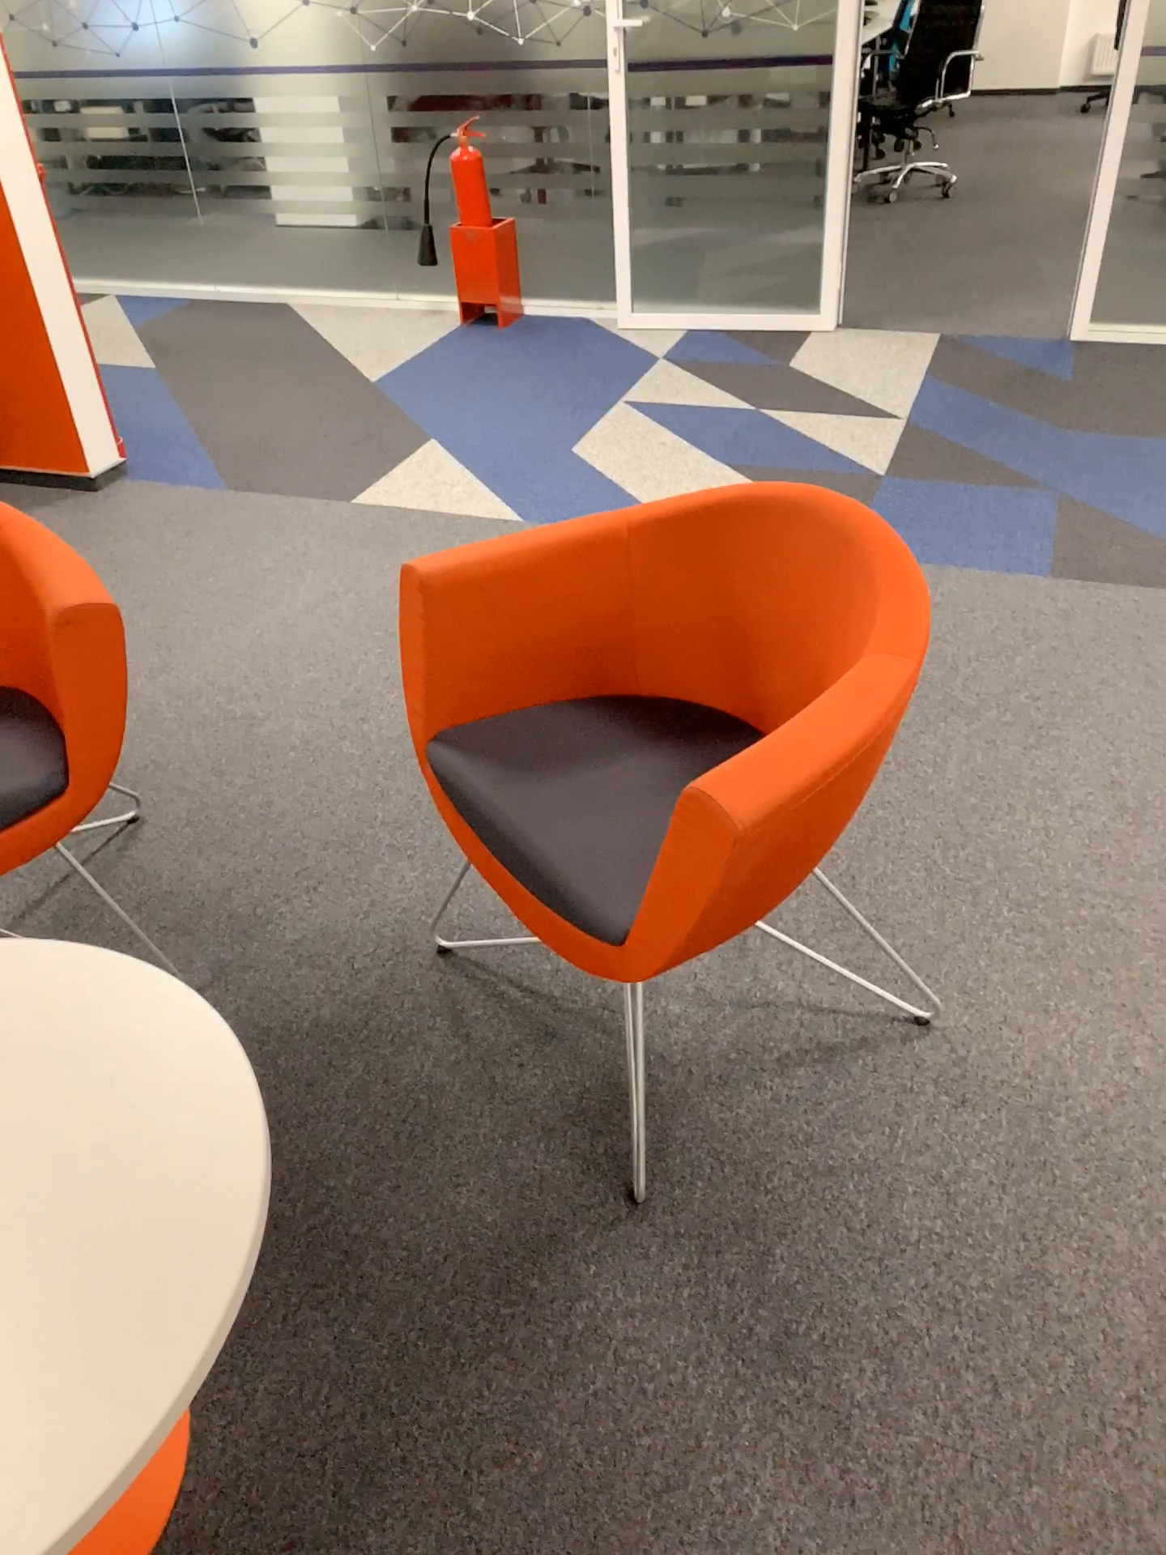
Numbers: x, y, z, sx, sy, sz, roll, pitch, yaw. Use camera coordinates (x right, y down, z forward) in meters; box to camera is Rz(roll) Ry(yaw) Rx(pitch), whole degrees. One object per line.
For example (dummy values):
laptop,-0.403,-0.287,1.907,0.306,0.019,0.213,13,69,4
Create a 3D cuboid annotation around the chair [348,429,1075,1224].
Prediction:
chair,0.145,0.018,1.653,0.621,0.706,0.643,-22,40,-24
